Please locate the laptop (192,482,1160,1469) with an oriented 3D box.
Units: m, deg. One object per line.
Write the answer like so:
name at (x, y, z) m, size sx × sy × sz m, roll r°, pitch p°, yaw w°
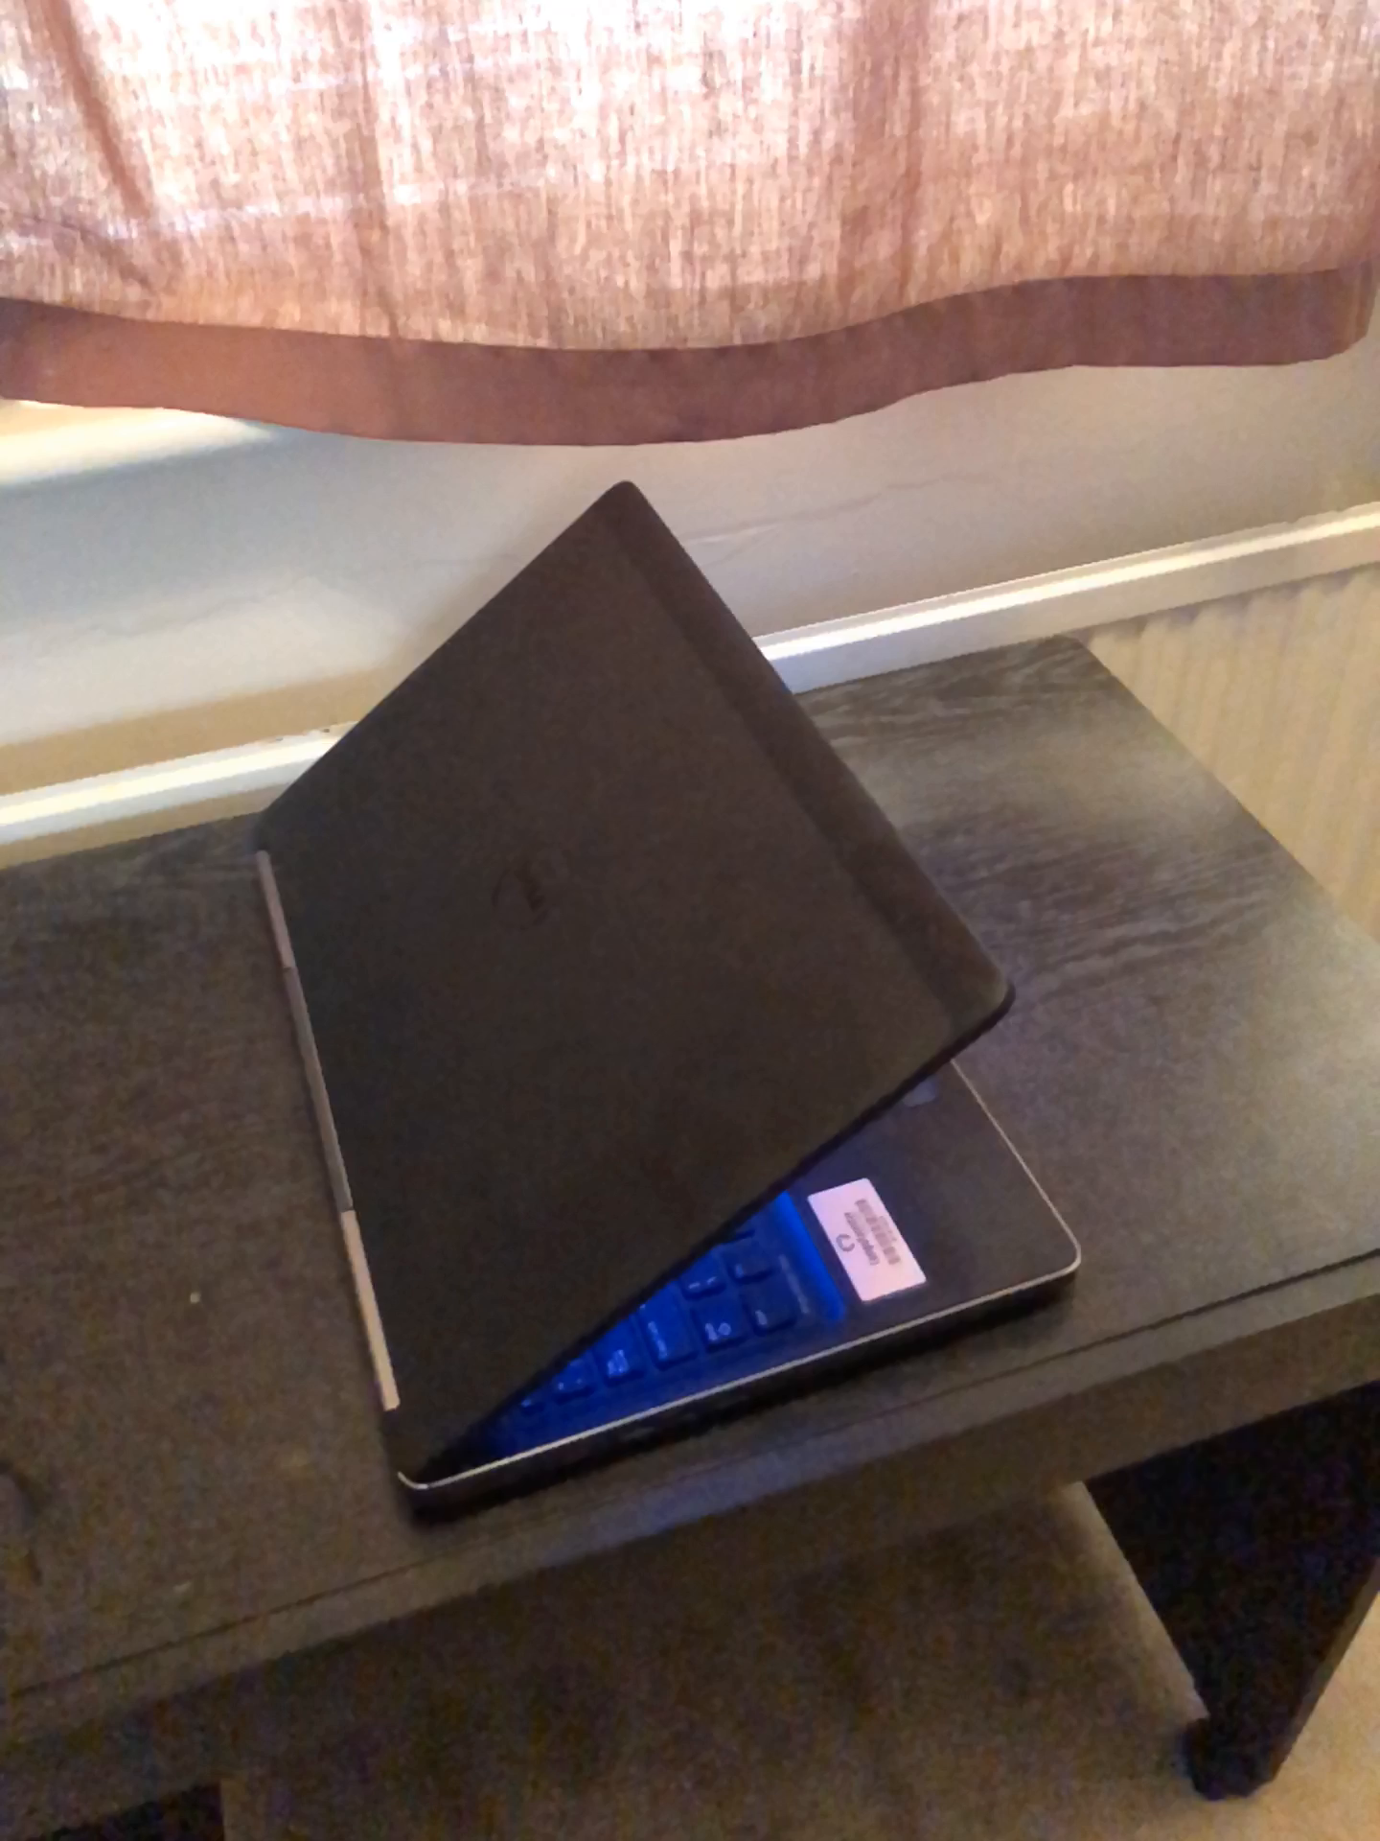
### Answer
laptop at (-0.036, -0.013, 0.595) m, size 0.243 × 0.134 × 0.364 m, roll -15°, pitch 43°, yaw -12°
